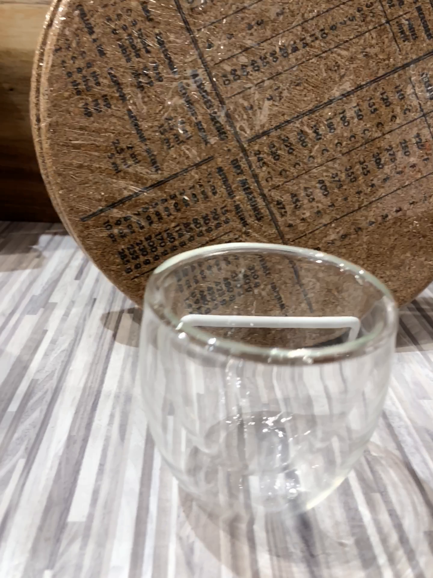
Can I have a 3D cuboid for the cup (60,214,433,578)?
[{"bbox_3d":[0.014,0.020,0.124,0.070,0.050,0.070,2,26,-1],"label":"cup"}]
